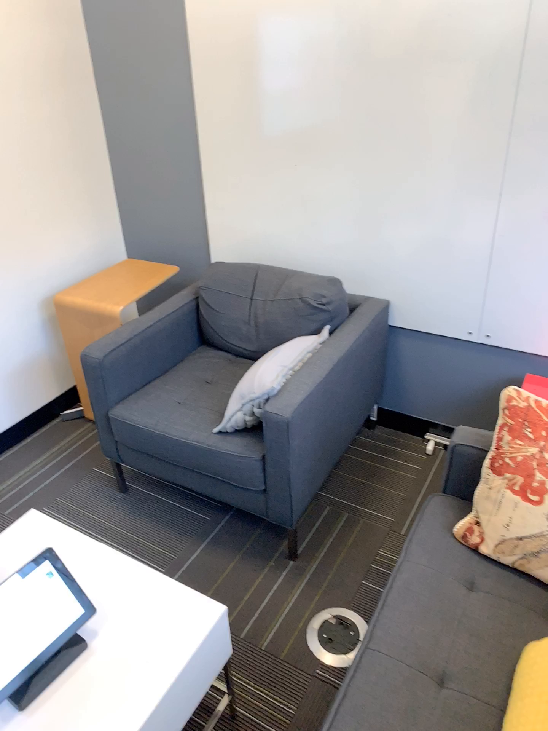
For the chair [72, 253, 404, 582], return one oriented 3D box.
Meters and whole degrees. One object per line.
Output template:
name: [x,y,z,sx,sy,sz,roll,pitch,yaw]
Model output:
chair: [-0.068,0.103,2.222,0.842,0.716,0.943,14,35,25]
